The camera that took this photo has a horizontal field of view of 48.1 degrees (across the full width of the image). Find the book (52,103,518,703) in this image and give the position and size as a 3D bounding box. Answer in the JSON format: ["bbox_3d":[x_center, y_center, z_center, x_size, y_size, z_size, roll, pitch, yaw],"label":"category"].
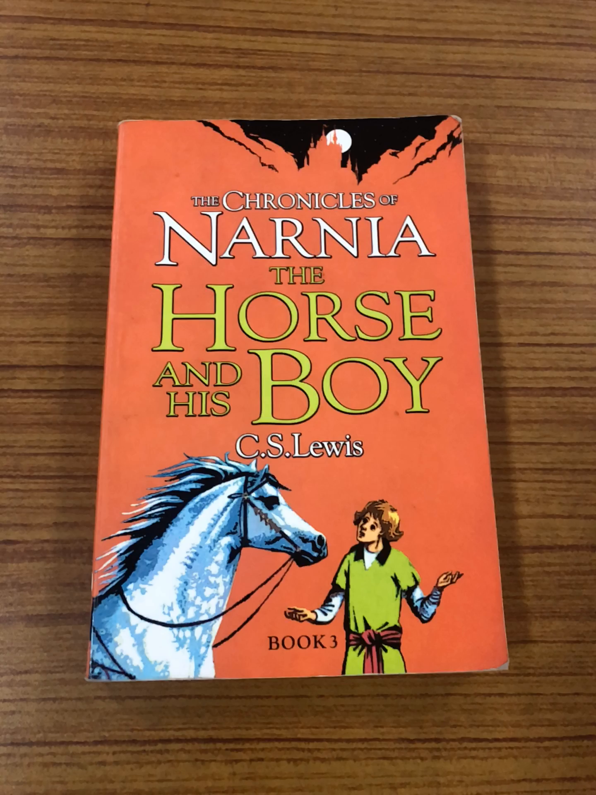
[{"bbox_3d":[-0.005,-0.005,0.224,0.130,0.030,0.190,0,76,-3],"label":"book"}]
